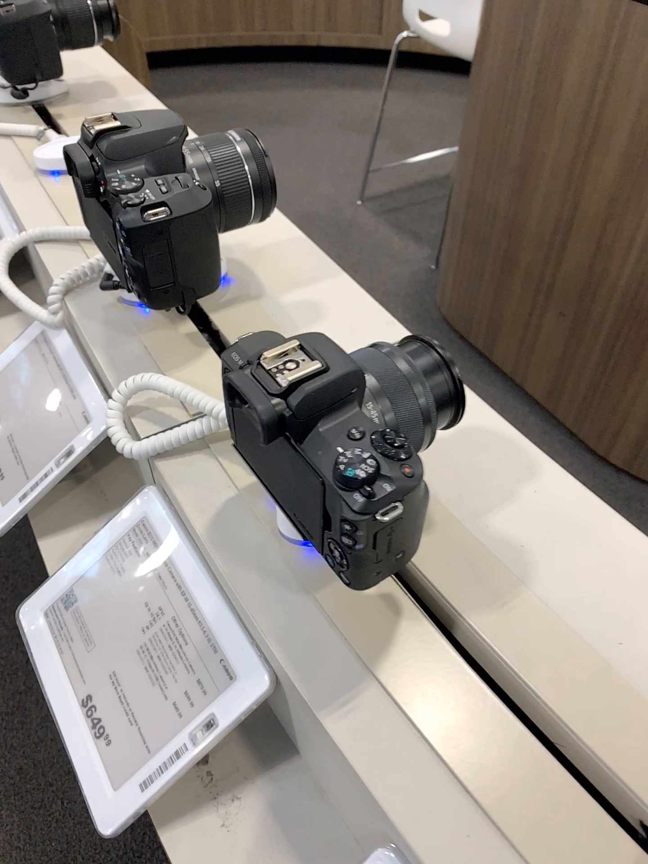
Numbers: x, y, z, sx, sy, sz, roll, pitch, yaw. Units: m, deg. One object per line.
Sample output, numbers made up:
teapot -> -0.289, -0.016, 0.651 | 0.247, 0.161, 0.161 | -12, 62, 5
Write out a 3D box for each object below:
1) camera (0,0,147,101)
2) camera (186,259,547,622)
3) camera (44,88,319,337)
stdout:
camera -> -0.297, -0.455, 0.737 | 0.145, 0.101, 0.134 | -22, 51, -19
camera -> 0.015, -0.002, 0.321 | 0.111, 0.088, 0.112 | -27, 52, -22
camera -> -0.094, -0.157, 0.463 | 0.135, 0.089, 0.122 | -27, 52, -22
